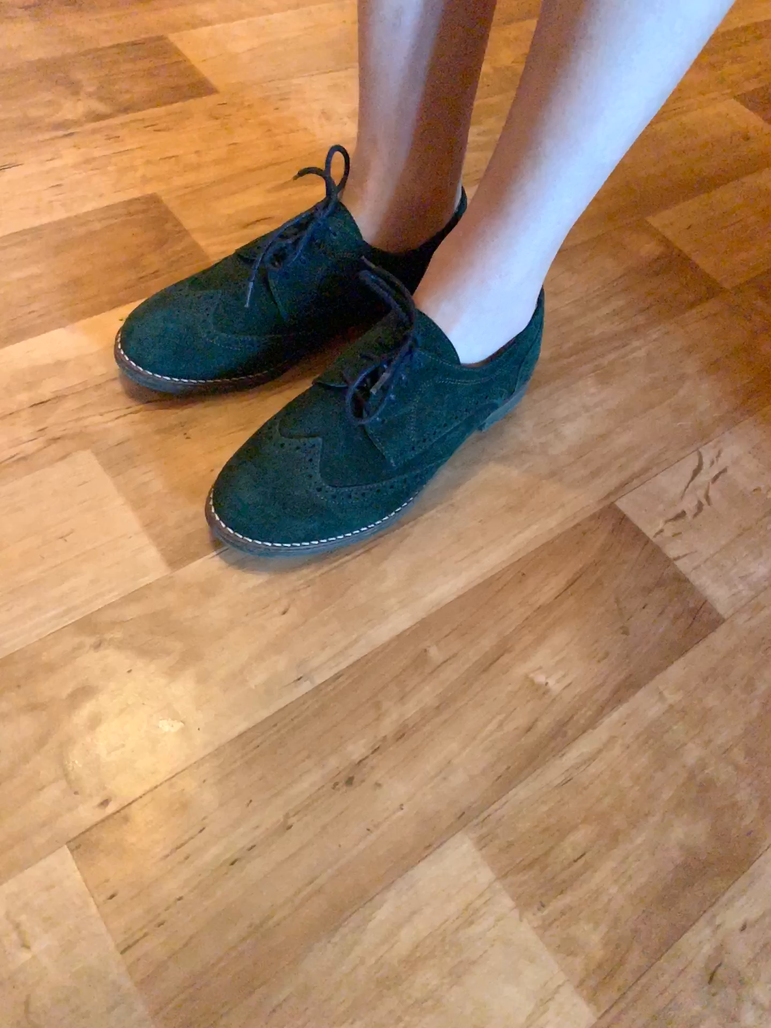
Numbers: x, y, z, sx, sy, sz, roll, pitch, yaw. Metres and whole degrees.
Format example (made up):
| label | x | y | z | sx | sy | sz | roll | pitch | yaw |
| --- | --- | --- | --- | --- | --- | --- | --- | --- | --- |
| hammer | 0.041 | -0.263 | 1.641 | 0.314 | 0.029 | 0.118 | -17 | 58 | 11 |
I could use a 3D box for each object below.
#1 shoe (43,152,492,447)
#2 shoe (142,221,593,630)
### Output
| label | x | y | z | sx | sy | sz | roll | pitch | yaw |
| --- | --- | --- | --- | --- | --- | --- | --- | --- | --- |
| shoe | -0.068 | -0.147 | 0.515 | 0.260 | 0.080 | 0.090 | -26 | 67 | -25 |
| shoe | -0.003 | -0.062 | 0.457 | 0.100 | 0.080 | 0.251 | 42 | 59 | 15 |
